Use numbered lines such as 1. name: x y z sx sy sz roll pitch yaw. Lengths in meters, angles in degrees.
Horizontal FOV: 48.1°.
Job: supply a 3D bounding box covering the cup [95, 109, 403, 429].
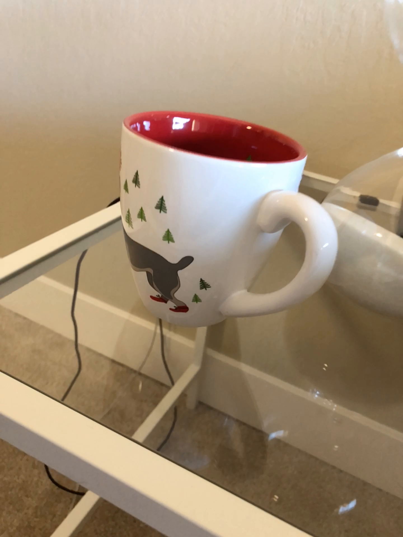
1. cup: 0.021 -0.018 0.262 0.100 0.109 0.150 -14 37 -37
